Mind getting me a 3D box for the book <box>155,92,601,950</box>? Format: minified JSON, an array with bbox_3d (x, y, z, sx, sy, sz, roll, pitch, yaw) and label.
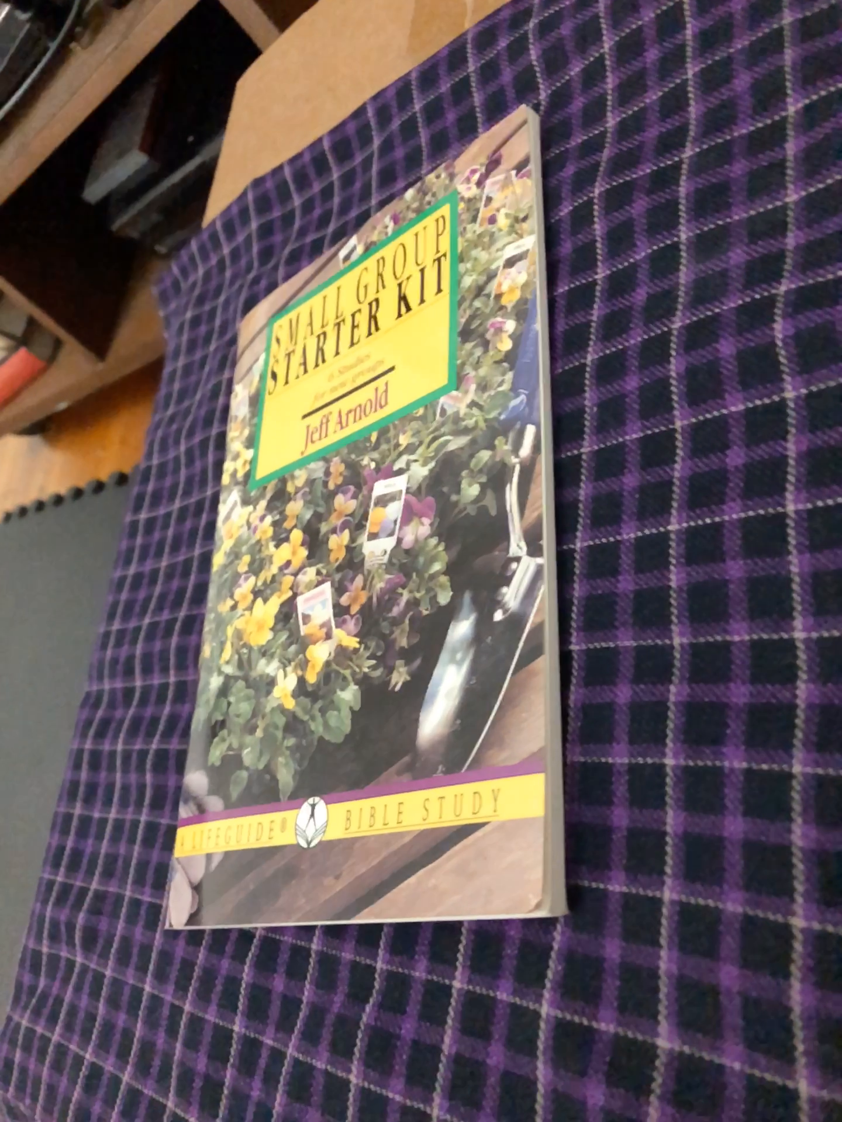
[{"bbox_3d":[-0.018,-0.008,0.270,0.150,0.010,0.220,-22,57,42],"label":"book"}]
